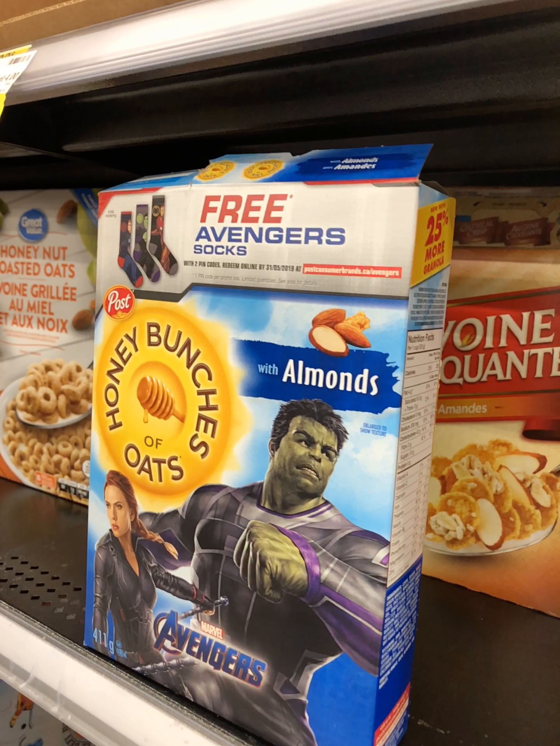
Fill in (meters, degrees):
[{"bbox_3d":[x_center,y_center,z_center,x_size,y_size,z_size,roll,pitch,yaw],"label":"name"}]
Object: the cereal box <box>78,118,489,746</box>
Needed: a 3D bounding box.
[{"bbox_3d":[-0.013,0.032,0.333,0.200,0.289,0.070,9,10,32],"label":"cereal box"}]
